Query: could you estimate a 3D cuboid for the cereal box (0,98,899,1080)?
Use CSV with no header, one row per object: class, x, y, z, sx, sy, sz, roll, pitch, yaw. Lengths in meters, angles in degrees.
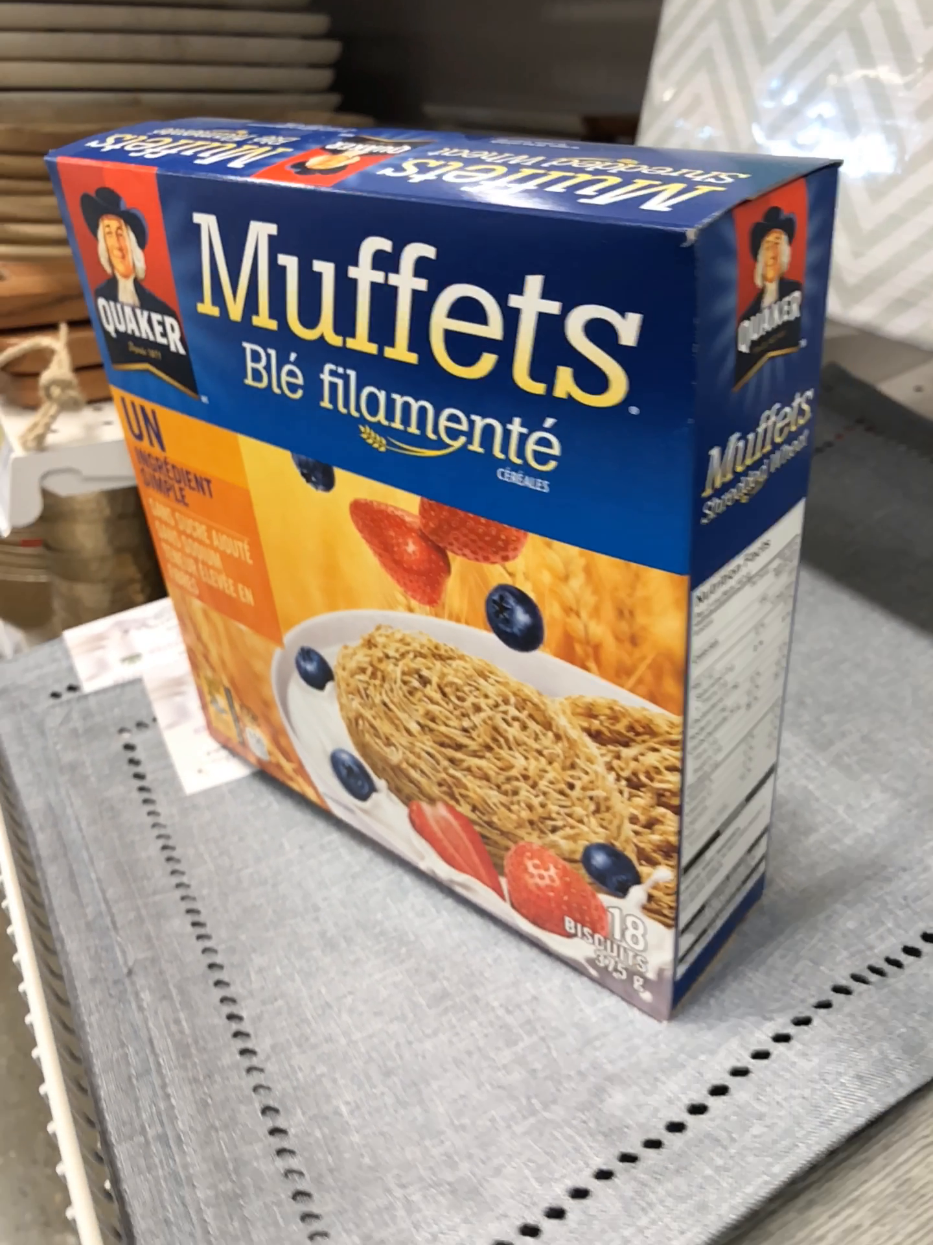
cereal box,-0.020,-0.025,0.318,0.251,0.229,0.060,24,43,37
